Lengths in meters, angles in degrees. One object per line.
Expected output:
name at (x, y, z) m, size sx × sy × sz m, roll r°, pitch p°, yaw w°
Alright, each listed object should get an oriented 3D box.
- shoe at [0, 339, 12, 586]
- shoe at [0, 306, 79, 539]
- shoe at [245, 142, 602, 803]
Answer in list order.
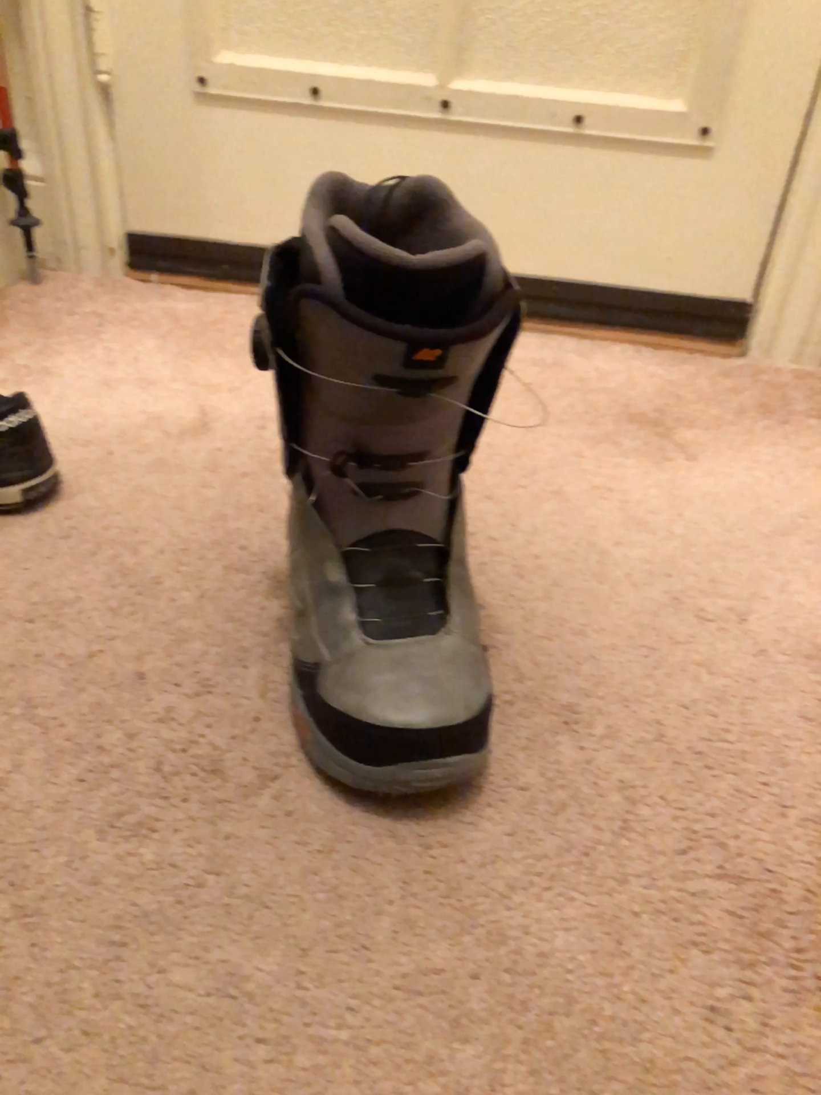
shoe at (-0.458, -0.066, 0.667) m, size 0.283 × 0.106 × 0.088 m, roll 11°, pitch 36°, yaw 8°
shoe at (-0.459, -0.114, 0.783) m, size 0.303 × 0.116 × 0.108 m, roll 12°, pitch 32°, yaw 10°
shoe at (-0.019, -0.056, 0.535) m, size 0.137 × 0.281 × 0.275 m, roll -1°, pitch 36°, yaw -8°
